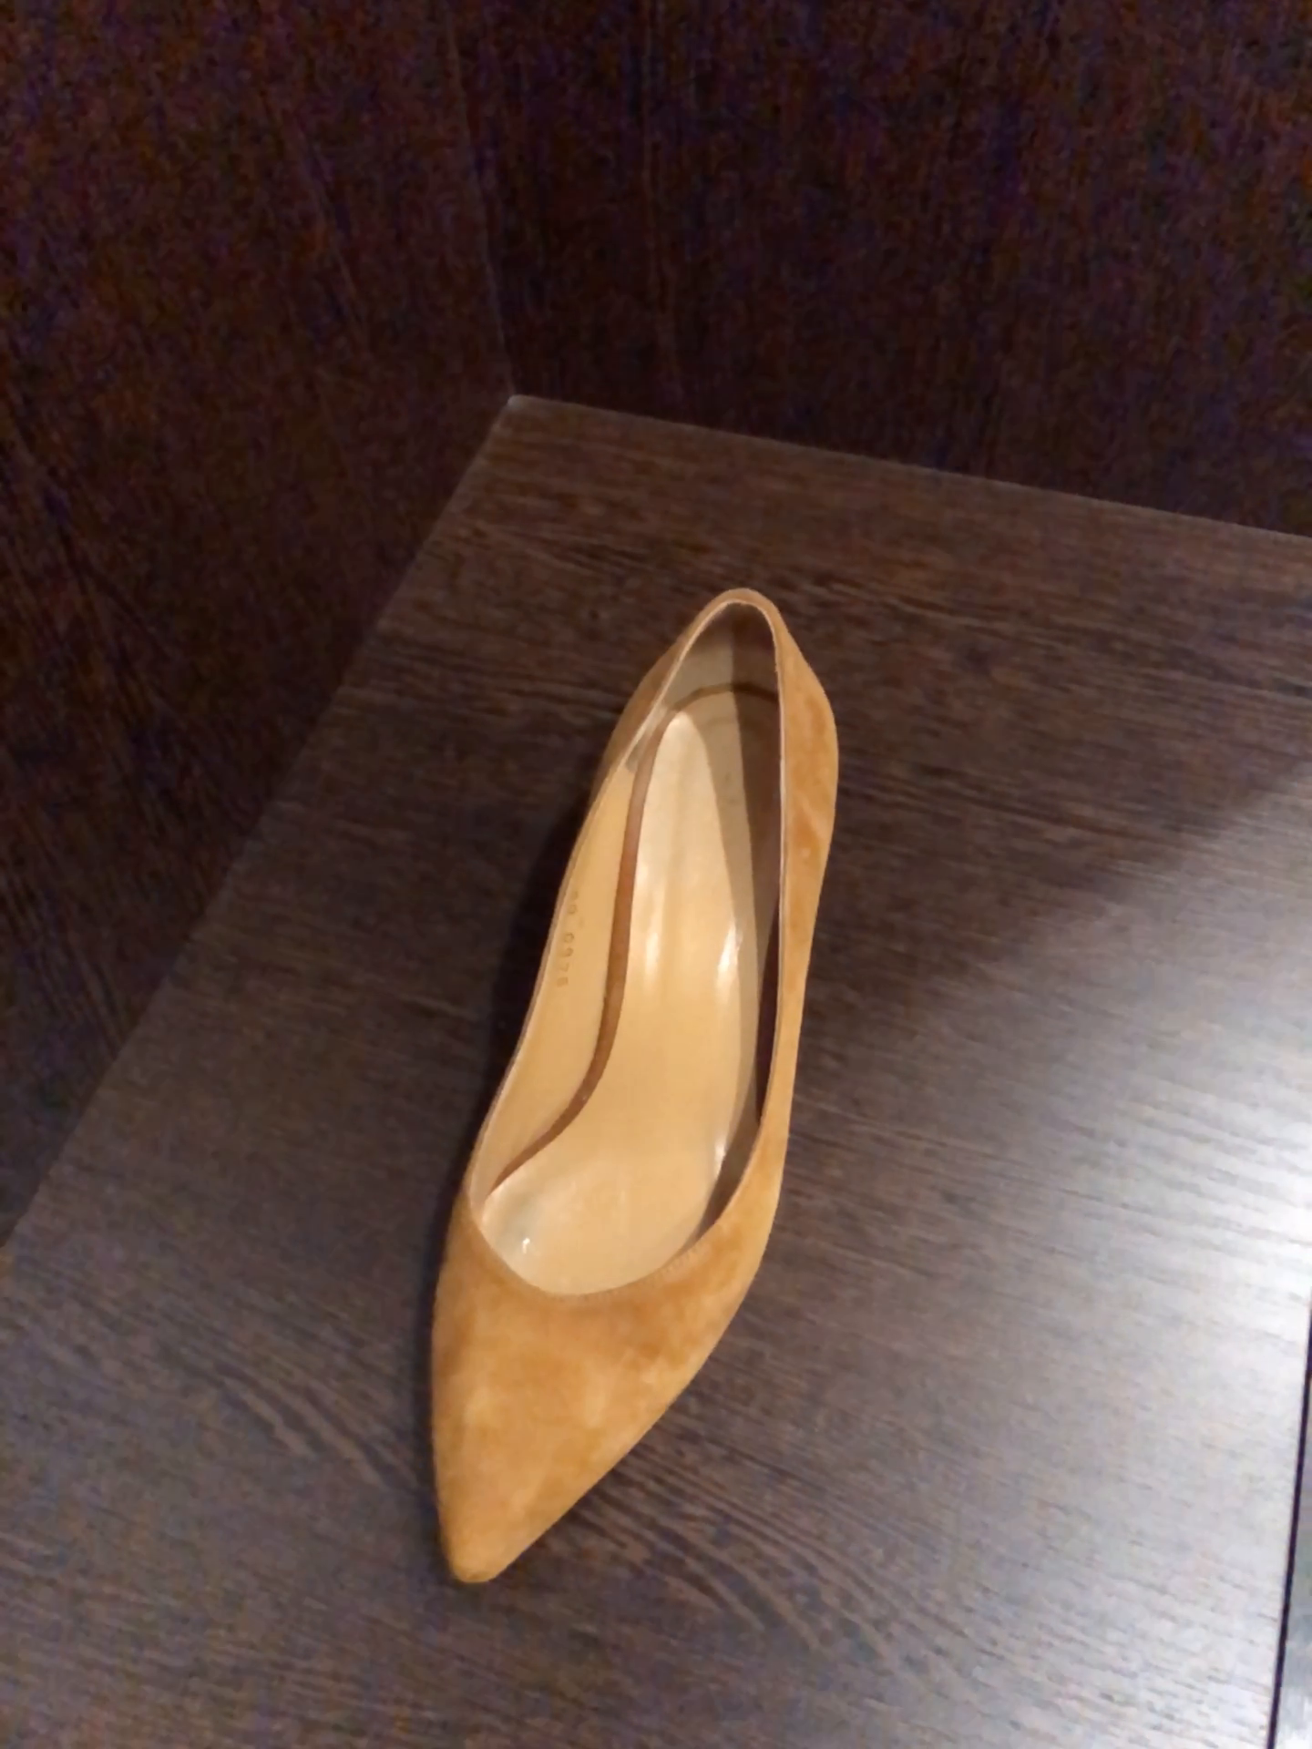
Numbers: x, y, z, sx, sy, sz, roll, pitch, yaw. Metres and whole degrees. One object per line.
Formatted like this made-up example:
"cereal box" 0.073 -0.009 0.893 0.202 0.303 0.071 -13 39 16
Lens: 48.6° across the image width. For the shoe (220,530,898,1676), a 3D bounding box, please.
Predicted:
"shoe" -0.005 0.045 0.383 0.090 0.100 0.270 9 57 11
